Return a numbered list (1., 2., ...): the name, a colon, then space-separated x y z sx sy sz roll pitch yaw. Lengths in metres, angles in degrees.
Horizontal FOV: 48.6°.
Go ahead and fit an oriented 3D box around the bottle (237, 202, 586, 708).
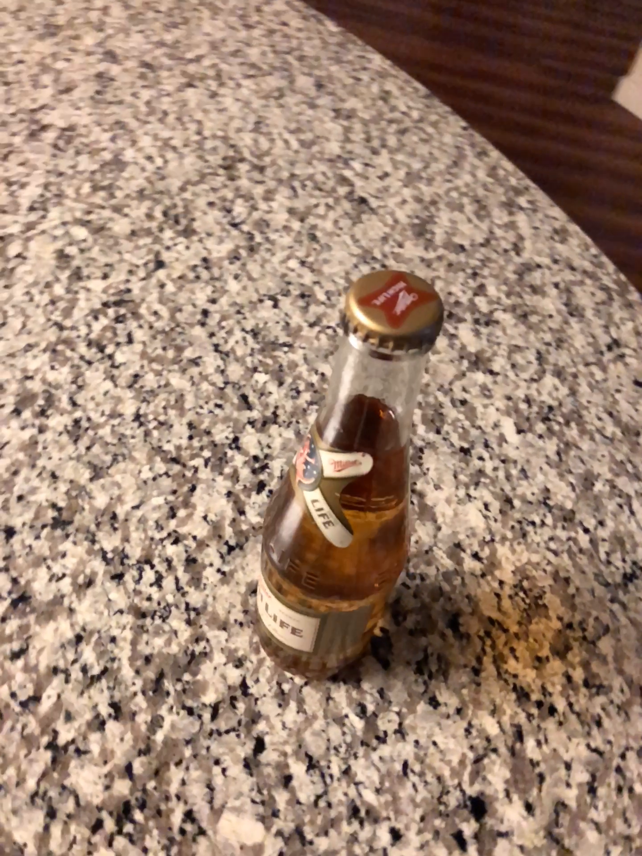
1. bottle: 0.012 0.033 0.277 0.070 0.229 0.060 -18 58 -19
